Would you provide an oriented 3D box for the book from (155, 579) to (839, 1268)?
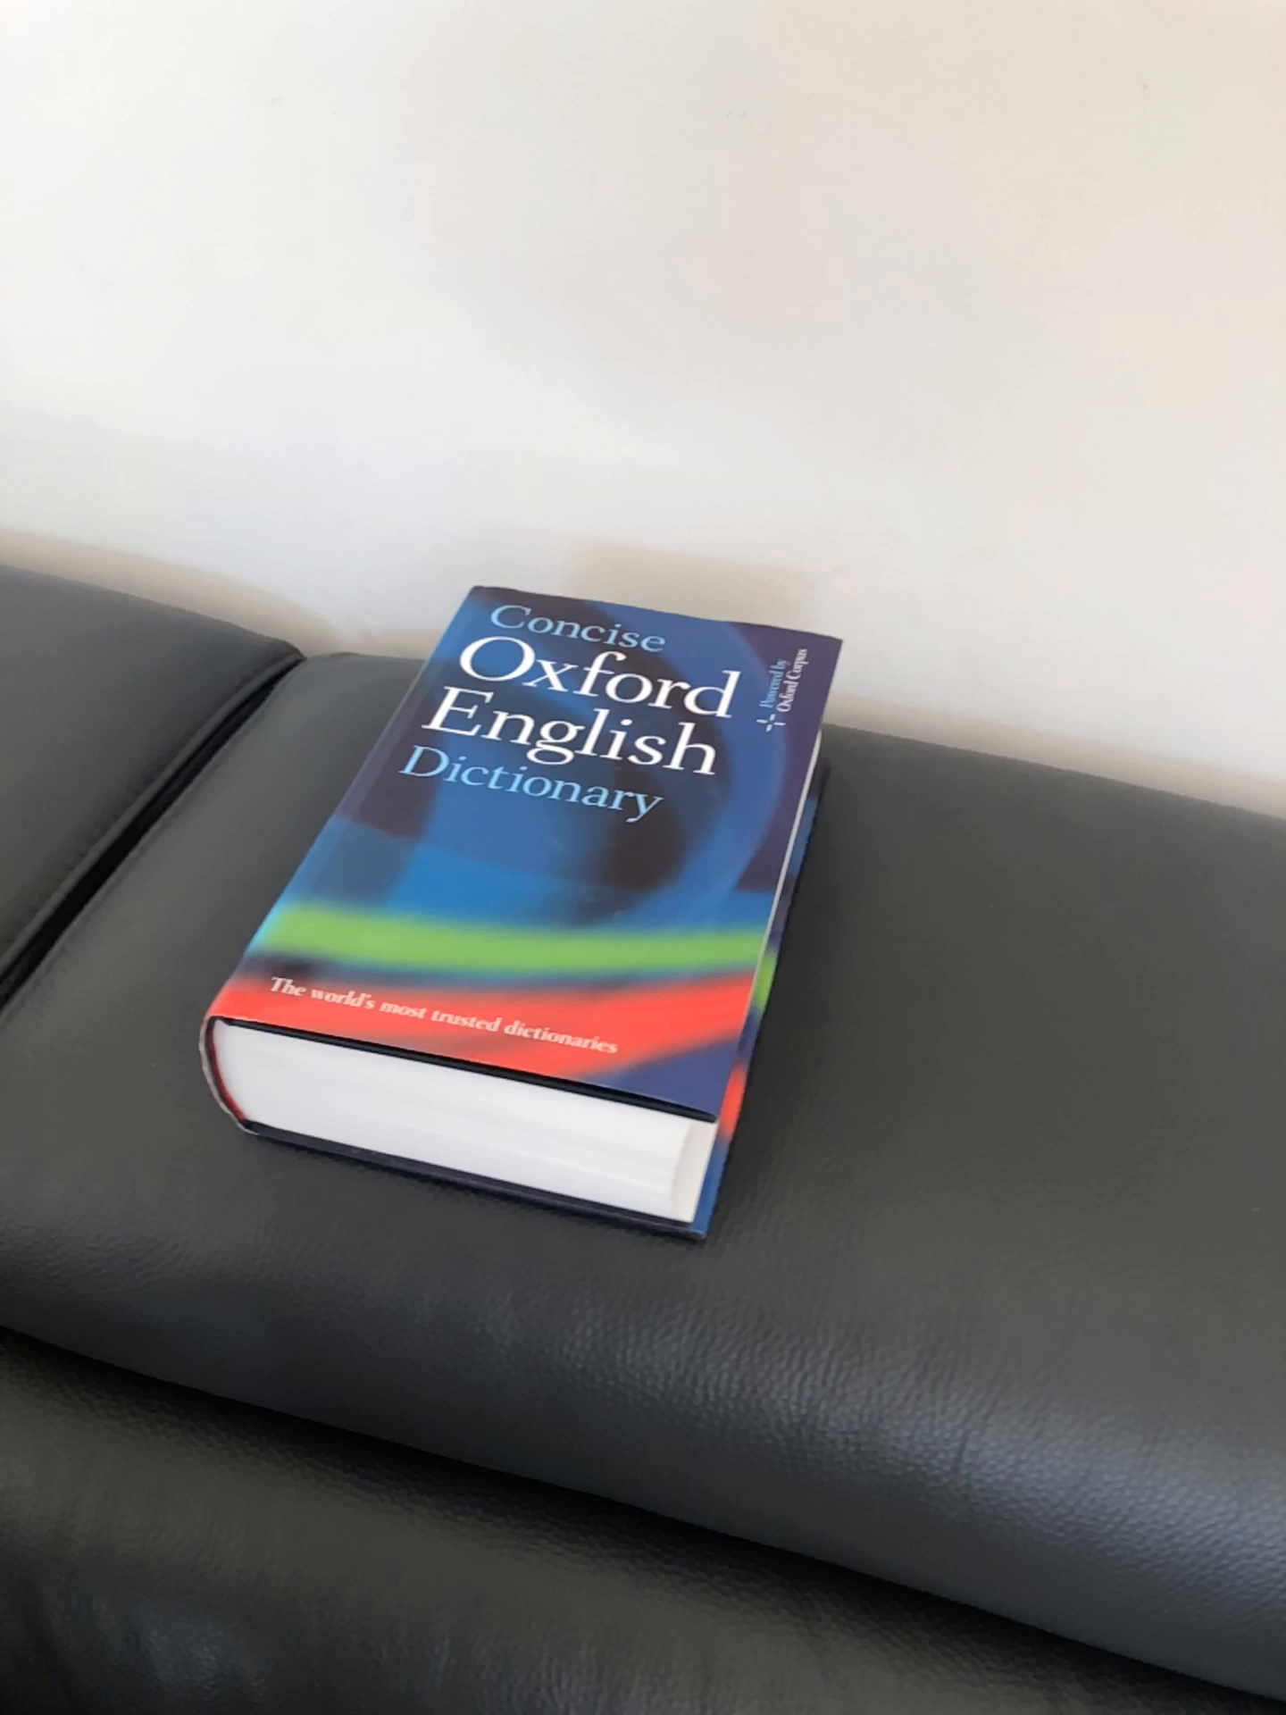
[{"bbox_3d":[-0.033,0.005,0.519,0.170,0.070,0.252,10,43,9],"label":"book"}]
